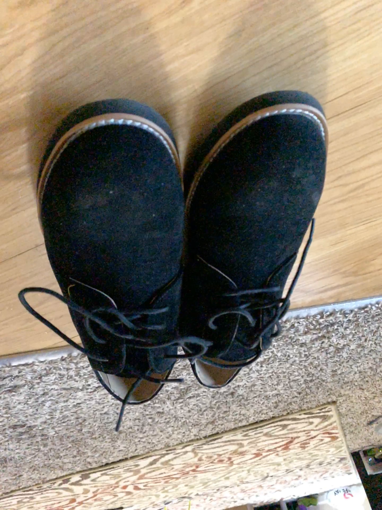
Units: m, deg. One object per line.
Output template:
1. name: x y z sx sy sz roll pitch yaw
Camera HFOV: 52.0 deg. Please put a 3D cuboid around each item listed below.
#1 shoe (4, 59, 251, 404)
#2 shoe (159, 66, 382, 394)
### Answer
1. shoe: -0.045 0.023 0.303 0.100 0.069 0.313 -5 143 -11
2. shoe: 0.051 0.020 0.325 0.110 0.069 0.312 -2 142 -14
